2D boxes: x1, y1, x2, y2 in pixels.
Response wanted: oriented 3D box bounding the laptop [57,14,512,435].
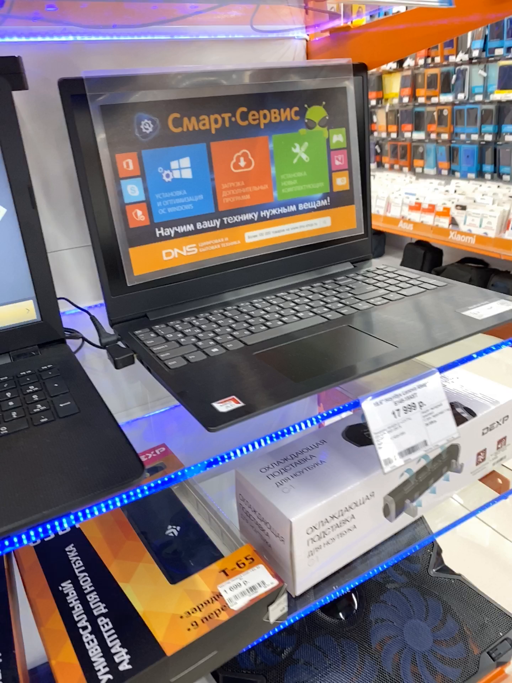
[{"bbox_3d":[0.051,-0.135,0.484,0.357,0.236,0.266,-17,26,-27],"label":"laptop"}]
